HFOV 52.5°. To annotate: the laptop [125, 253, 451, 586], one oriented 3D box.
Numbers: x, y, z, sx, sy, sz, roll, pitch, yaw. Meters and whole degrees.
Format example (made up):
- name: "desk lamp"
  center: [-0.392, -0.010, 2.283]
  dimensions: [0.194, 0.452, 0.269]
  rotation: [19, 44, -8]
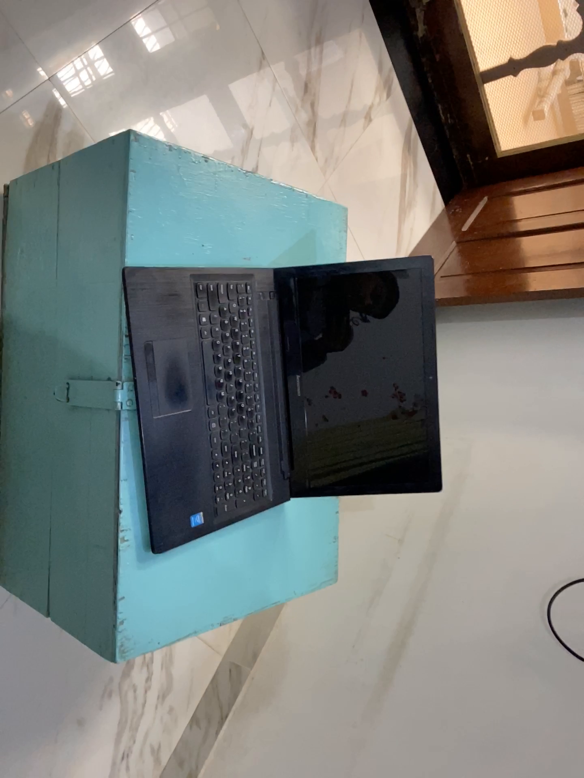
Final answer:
- name: "laptop"
  center: [0.025, 0.009, 0.858]
  dimensions: [0.426, 0.190, 0.370]
  rotation: [-12, 101, -45]
